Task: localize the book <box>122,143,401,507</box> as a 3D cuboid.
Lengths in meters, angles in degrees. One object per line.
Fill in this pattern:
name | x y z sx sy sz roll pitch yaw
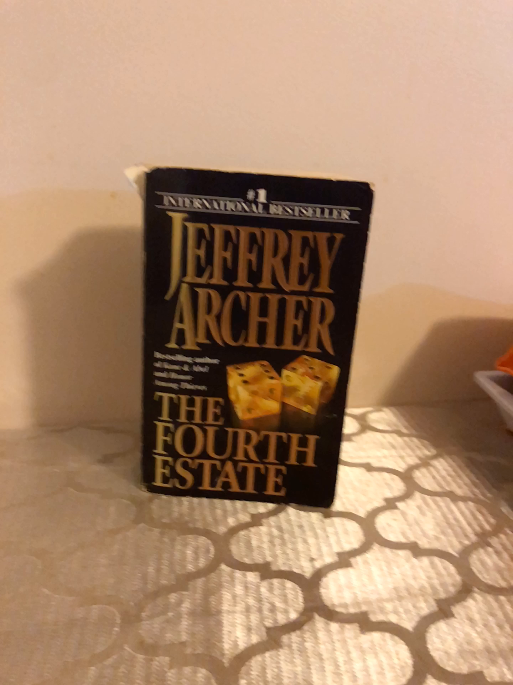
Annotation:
book | -0.001 -0.010 0.299 0.120 0.169 0.060 4 17 2
